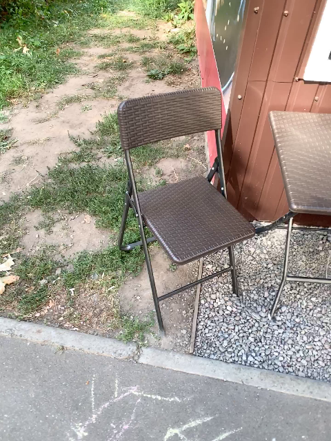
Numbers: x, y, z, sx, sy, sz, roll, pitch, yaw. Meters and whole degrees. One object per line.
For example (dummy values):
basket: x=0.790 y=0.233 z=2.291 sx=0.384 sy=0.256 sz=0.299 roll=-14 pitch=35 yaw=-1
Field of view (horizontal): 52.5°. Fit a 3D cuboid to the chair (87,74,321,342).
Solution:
chair: x=0.078 y=-0.042 z=1.169 sx=0.470 sy=0.687 sz=0.472 roll=-20 pitch=47 yaw=-21
